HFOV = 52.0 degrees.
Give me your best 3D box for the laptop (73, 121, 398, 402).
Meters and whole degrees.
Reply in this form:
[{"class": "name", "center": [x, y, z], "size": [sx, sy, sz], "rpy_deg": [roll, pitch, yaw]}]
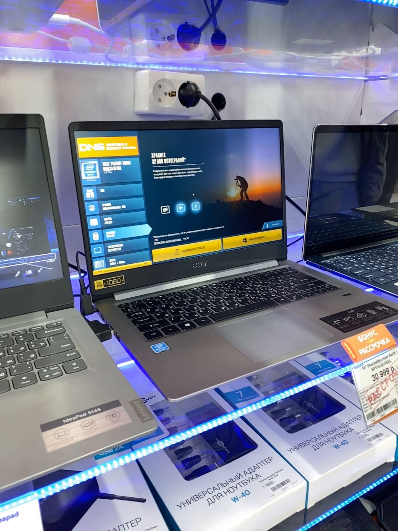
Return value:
[{"class": "laptop", "center": [0.055, -0.056, 0.472], "size": [0.319, 0.206, 0.258], "rpy_deg": [-11, 23, -28]}]
